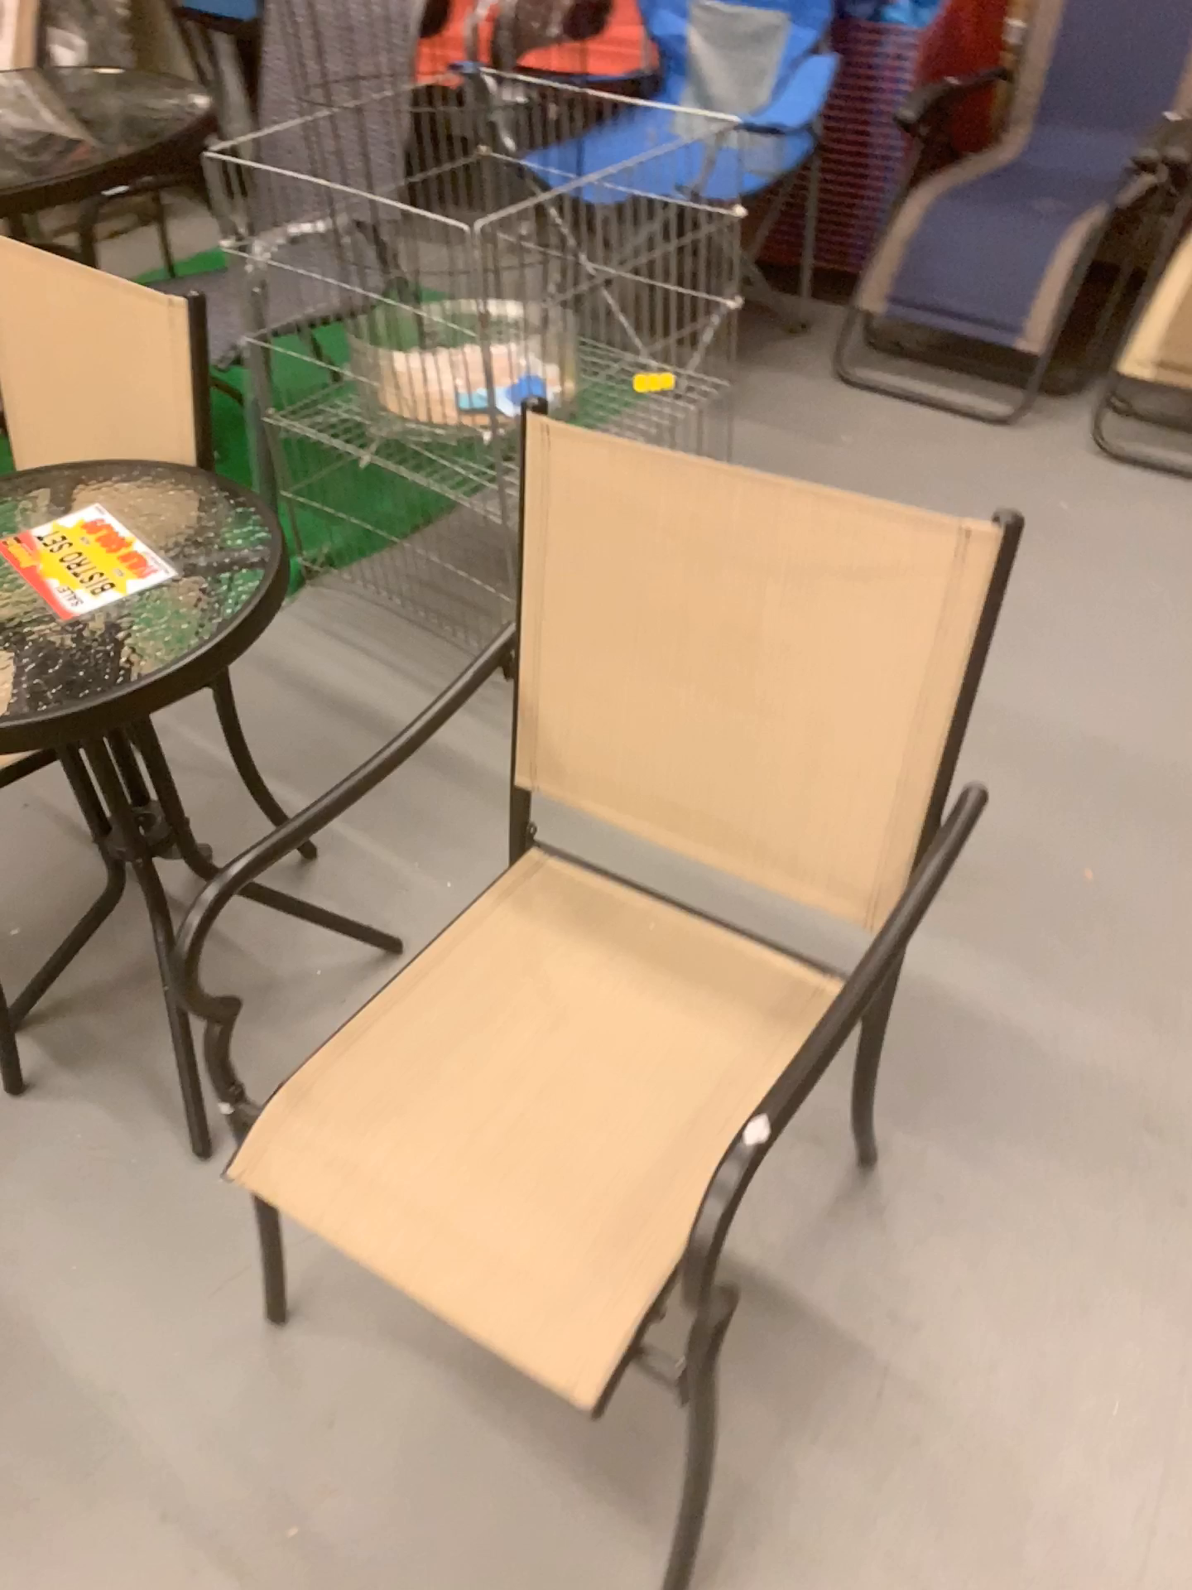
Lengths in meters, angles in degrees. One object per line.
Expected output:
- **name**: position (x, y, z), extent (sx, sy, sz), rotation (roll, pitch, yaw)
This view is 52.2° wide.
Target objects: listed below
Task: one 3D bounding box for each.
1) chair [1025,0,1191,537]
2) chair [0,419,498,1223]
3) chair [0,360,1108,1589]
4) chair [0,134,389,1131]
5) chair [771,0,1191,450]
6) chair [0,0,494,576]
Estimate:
- **chair**: position (1.645, -1.401, 2.649), extent (0.735, 1.042, 1.269), rotation (26, 50, 28)
- **chair**: position (-0.526, 0.010, 1.480), extent (0.525, 0.634, 0.547), rotation (26, 50, 28)
- **chair**: position (-0.003, 0.185, 1.135), extent (0.575, 0.863, 0.617), rotation (21, 48, 24)
- **chair**: position (-0.797, -0.221, 1.575), extent (0.615, 0.923, 0.677), rotation (26, 50, 28)
- **chair**: position (1.118, -1.693, 3.008), extent (0.735, 1.072, 1.269), rotation (27, 50, 29)
- **chair**: position (-0.728, -1.111, 2.487), extent (0.665, 0.952, 0.677), rotation (26, 50, 28)
